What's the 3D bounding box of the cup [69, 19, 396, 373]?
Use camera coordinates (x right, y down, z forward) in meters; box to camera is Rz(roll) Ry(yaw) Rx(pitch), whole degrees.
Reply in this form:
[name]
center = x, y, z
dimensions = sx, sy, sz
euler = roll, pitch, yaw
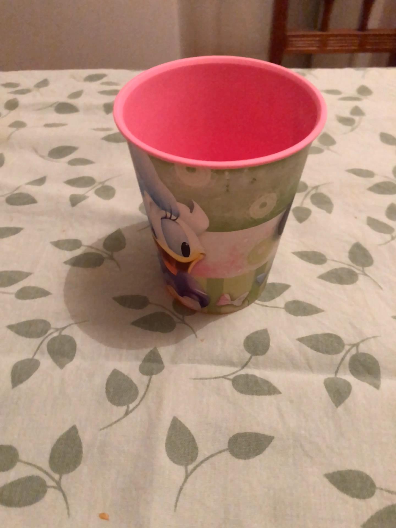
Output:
[cup]
center = 0.009, -0.034, 0.223
dimensions = 0.100, 0.119, 0.101
euler = 0, 48, 1
